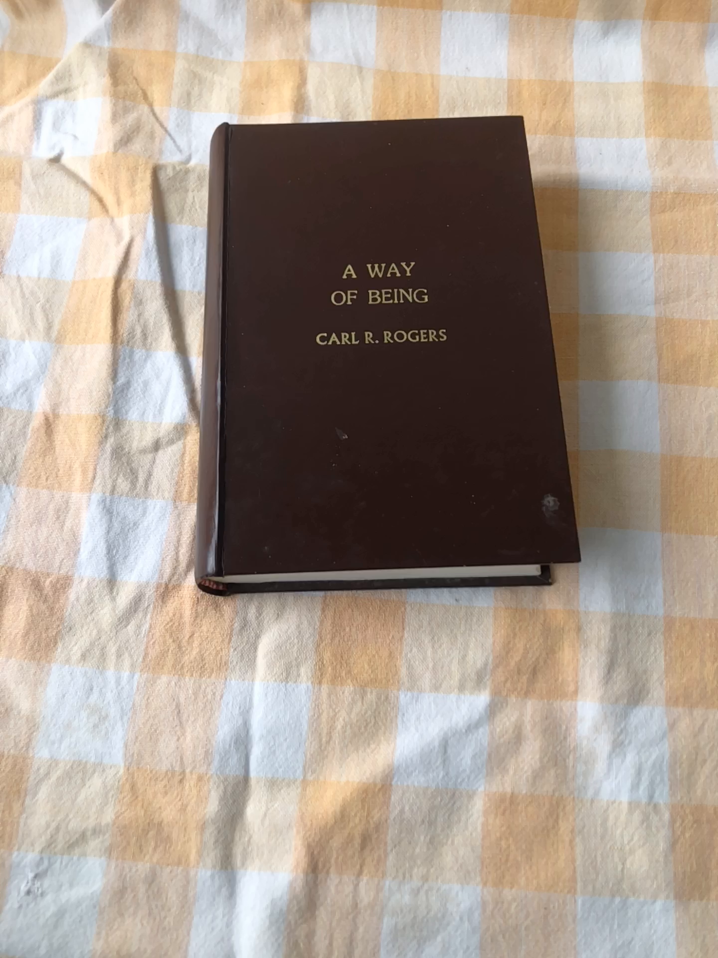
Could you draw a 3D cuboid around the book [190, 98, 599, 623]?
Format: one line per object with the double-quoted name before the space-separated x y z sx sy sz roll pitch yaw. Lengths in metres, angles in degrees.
"book" 0.008 -0.052 0.334 0.140 0.060 0.210 -2 71 -1
